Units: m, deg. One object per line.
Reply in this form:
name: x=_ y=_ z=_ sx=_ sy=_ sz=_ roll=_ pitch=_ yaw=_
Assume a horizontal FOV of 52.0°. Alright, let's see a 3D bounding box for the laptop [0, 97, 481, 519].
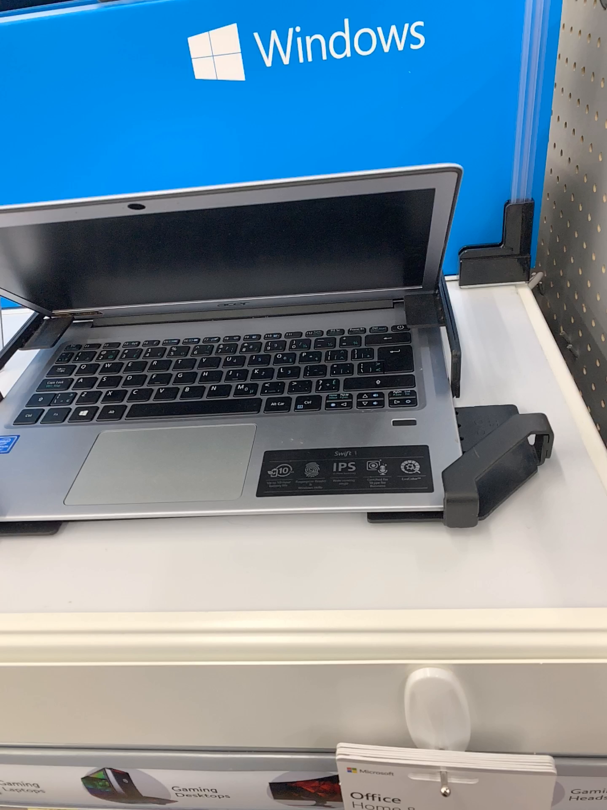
laptop: x=-0.070 y=-0.061 z=0.370 sx=0.307 sy=0.140 sz=0.198 roll=-3 pitch=39 yaw=8
